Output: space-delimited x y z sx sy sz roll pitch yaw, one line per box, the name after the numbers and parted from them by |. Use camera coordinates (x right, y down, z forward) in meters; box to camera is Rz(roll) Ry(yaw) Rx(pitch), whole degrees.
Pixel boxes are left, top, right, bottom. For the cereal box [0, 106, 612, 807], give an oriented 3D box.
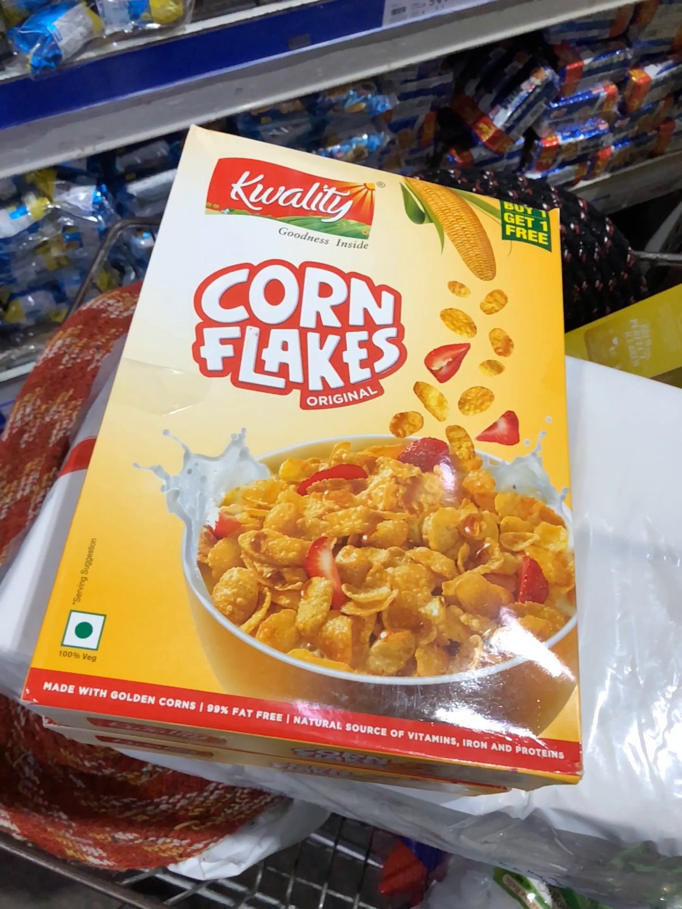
0.001 -0.009 0.312 0.190 0.060 0.261 9 64 -6 | cereal box

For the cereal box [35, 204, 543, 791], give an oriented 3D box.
-0.009 0.016 0.382 0.200 0.070 0.261 9 64 -6 | cereal box
